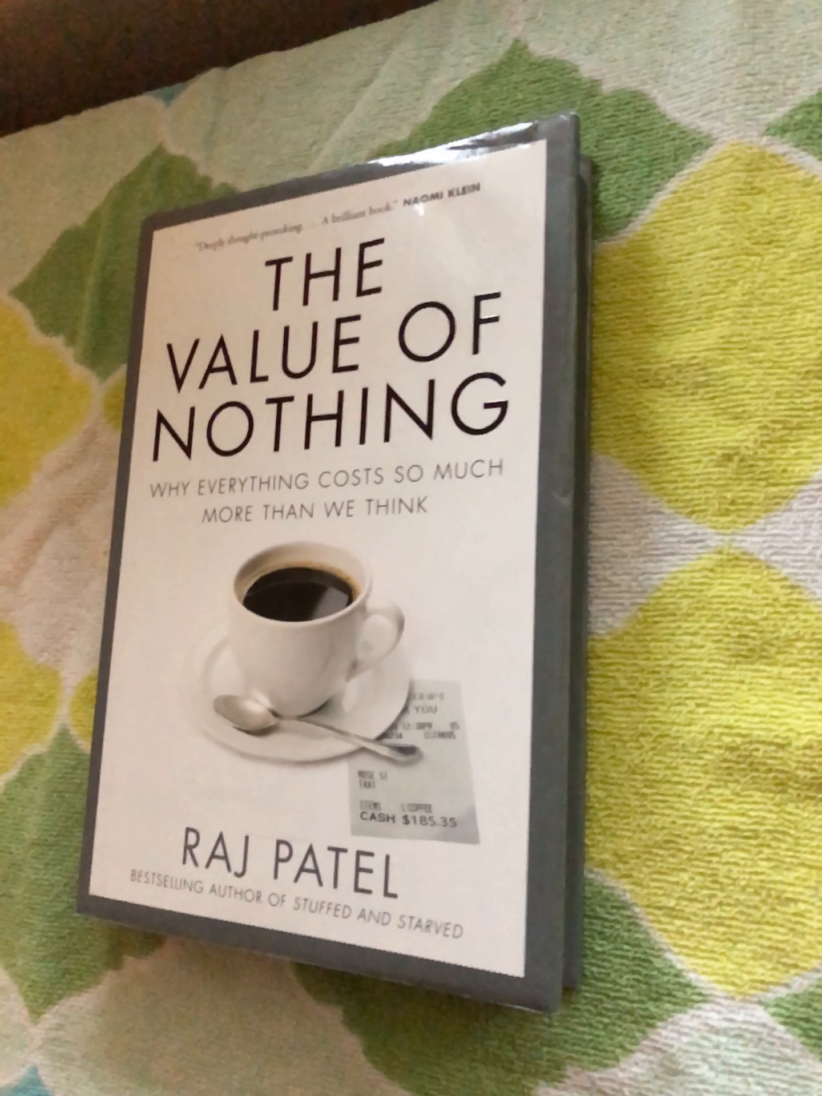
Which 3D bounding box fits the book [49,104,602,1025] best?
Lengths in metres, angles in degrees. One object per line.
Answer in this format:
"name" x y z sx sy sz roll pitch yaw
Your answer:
"book" -0.024 -0.001 0.247 0.141 0.030 0.206 -2 79 27
